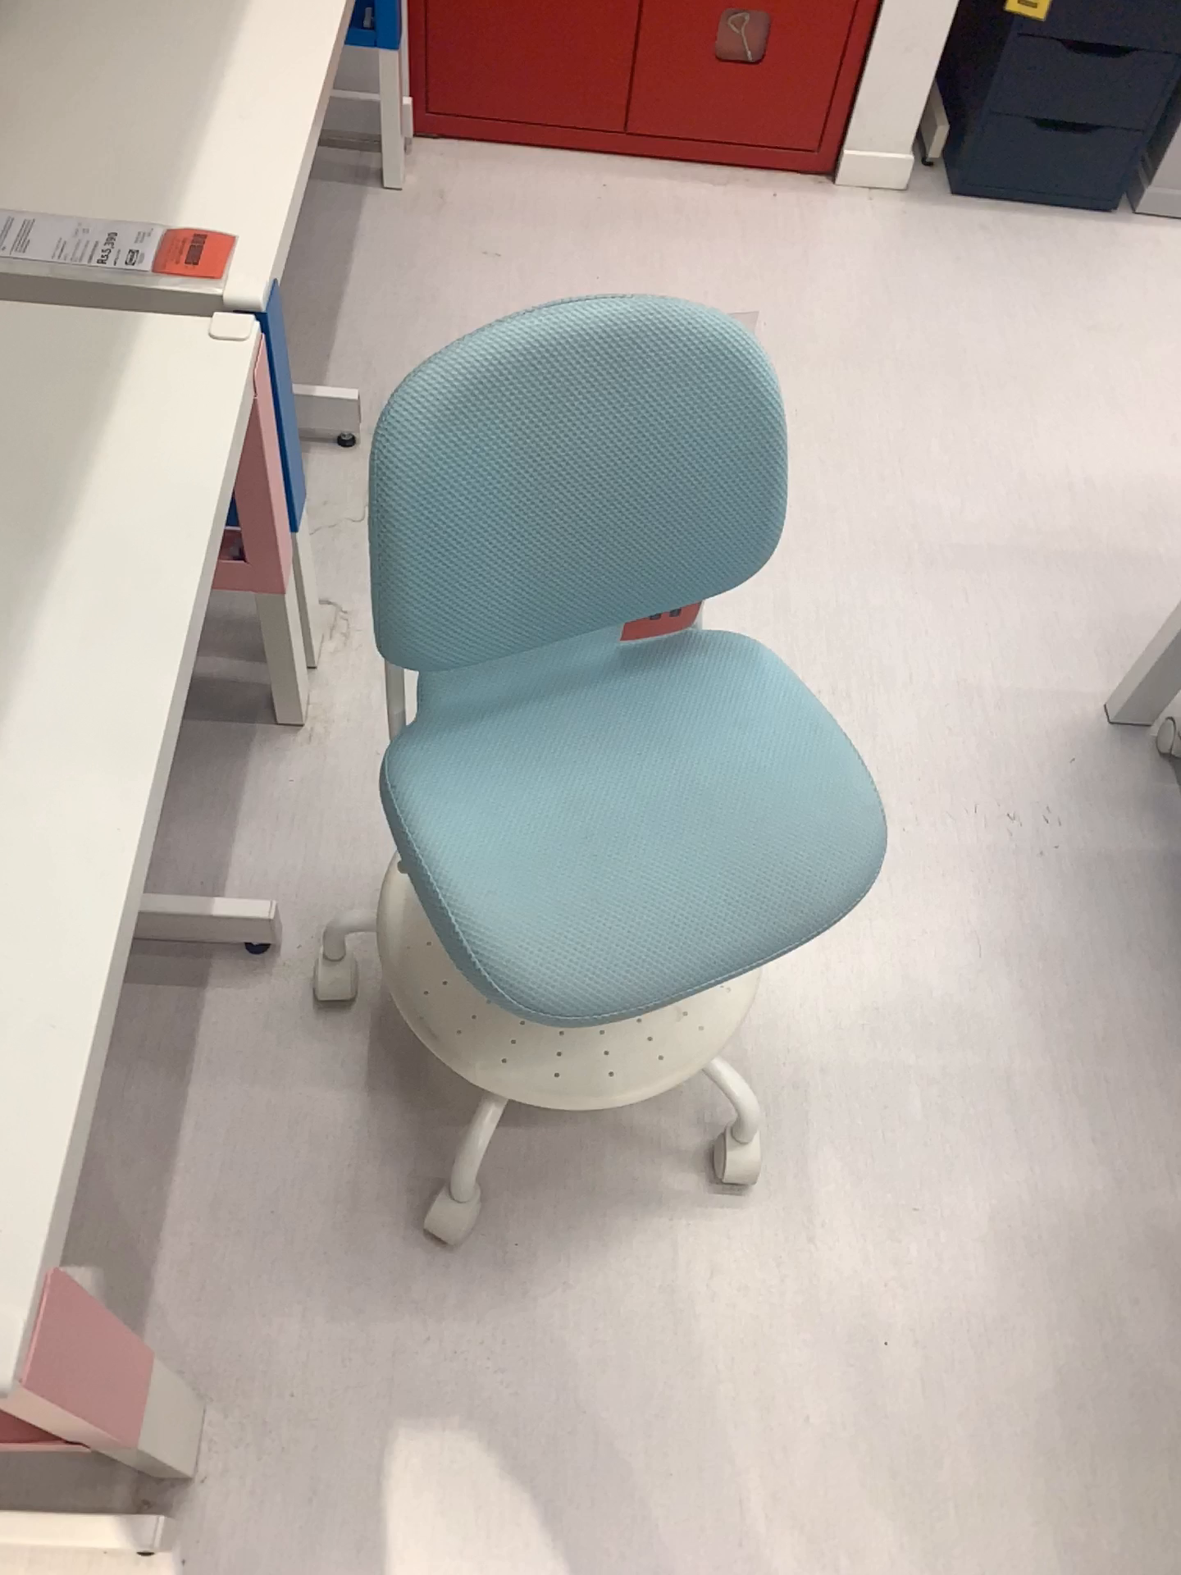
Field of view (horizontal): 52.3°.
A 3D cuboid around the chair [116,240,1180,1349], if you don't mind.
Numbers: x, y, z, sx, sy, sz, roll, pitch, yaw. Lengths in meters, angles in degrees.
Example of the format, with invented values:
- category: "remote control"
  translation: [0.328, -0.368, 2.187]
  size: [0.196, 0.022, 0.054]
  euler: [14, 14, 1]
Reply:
- category: "chair"
  translation: [0.009, 0.027, 1.115]
  size: [0.580, 0.678, 0.611]
  euler: [-19, 60, -18]
